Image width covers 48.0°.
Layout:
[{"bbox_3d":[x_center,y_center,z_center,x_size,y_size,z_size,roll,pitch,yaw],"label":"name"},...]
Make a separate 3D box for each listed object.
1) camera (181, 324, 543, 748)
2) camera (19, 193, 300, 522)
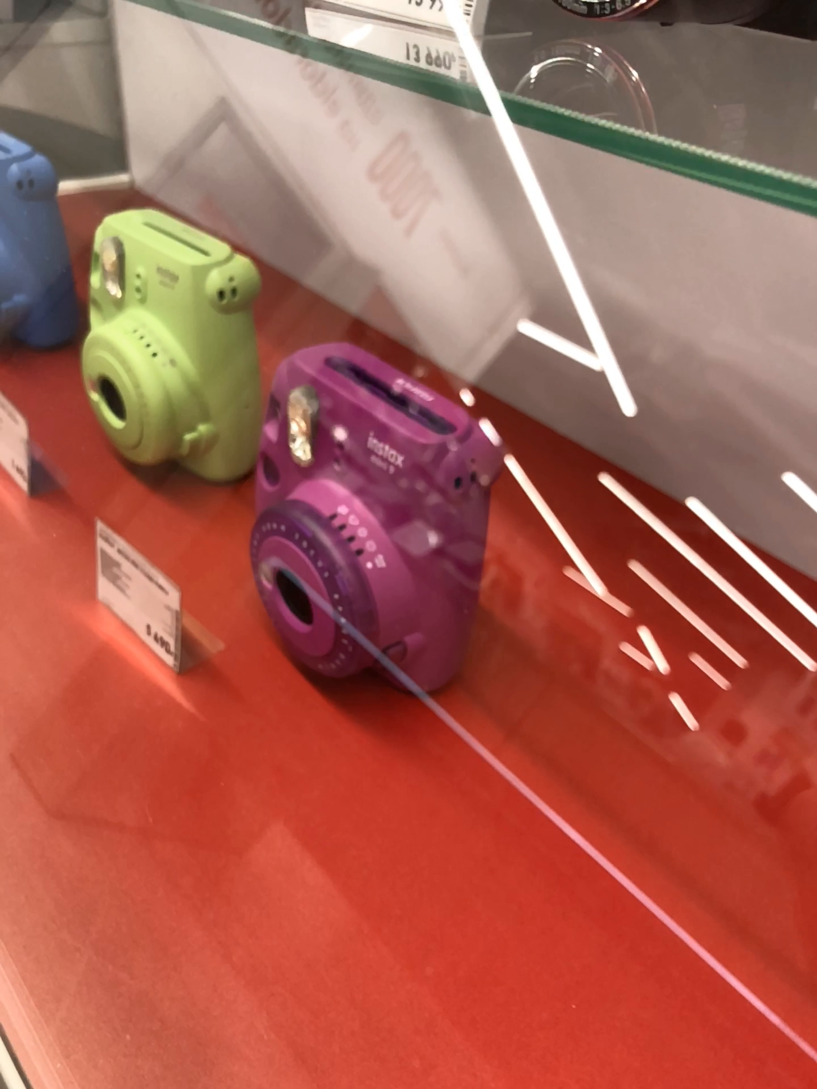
[{"bbox_3d":[-0.023,-0.009,0.358,0.073,0.103,0.117,-24,45,-33],"label":"camera"},{"bbox_3d":[-0.130,-0.104,0.489,0.073,0.118,0.135,-29,48,-36],"label":"camera"}]
